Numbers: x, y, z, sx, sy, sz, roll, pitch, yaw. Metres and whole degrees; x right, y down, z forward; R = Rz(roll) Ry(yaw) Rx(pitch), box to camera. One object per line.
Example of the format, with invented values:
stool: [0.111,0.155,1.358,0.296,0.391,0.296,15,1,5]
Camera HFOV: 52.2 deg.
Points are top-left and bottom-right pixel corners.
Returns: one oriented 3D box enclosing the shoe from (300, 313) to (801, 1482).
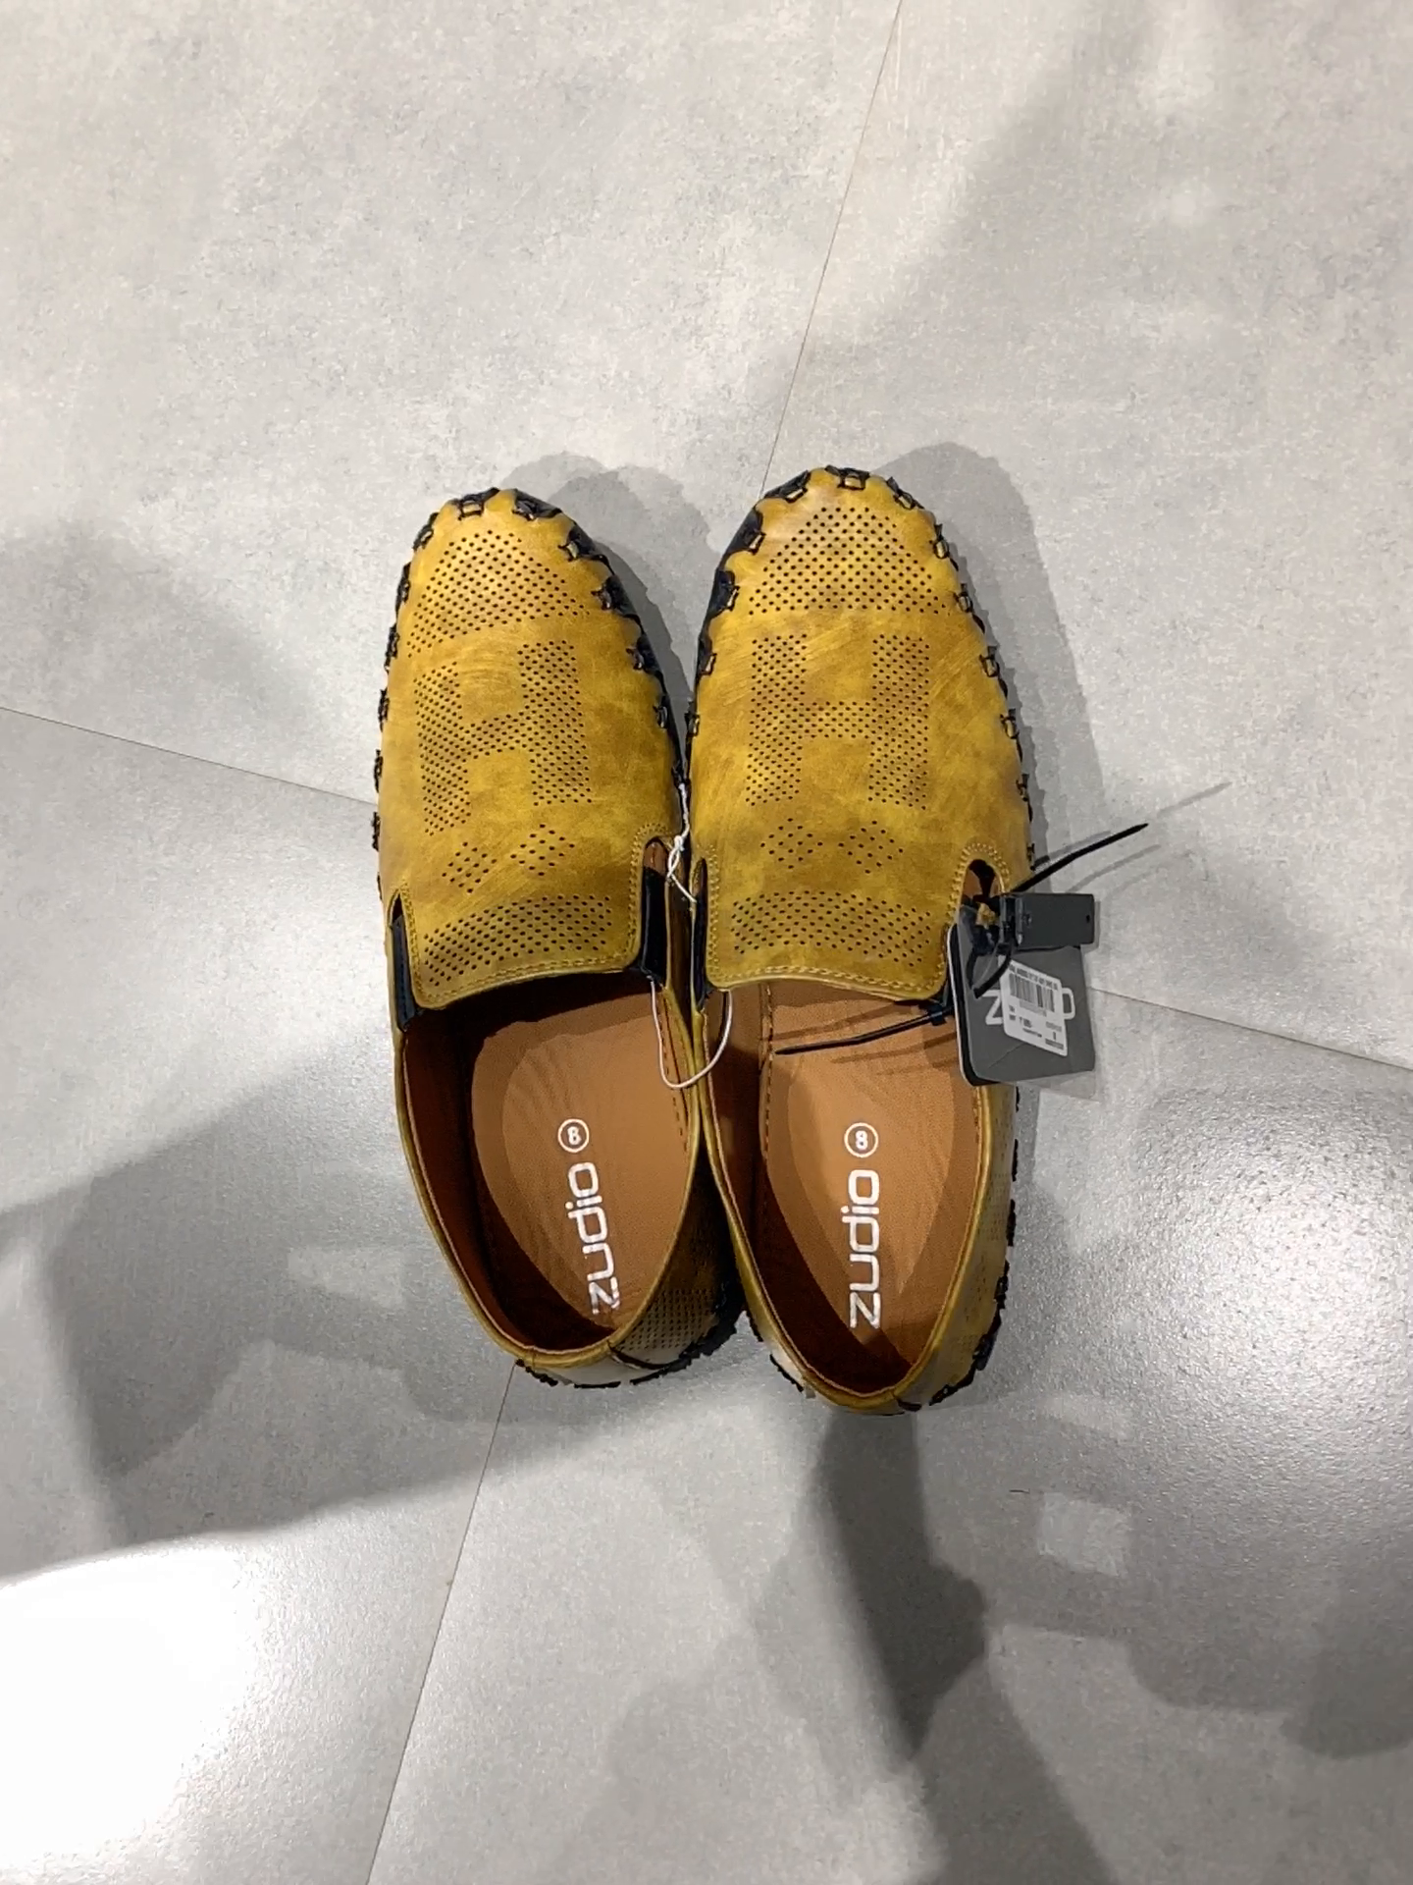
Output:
shoe: [-0.045,-0.011,0.463,0.100,0.120,0.320,-8,82,10]

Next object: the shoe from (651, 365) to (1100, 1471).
shoe: [0.048,-0.006,0.424,0.110,0.080,0.290,-2,83,11]
